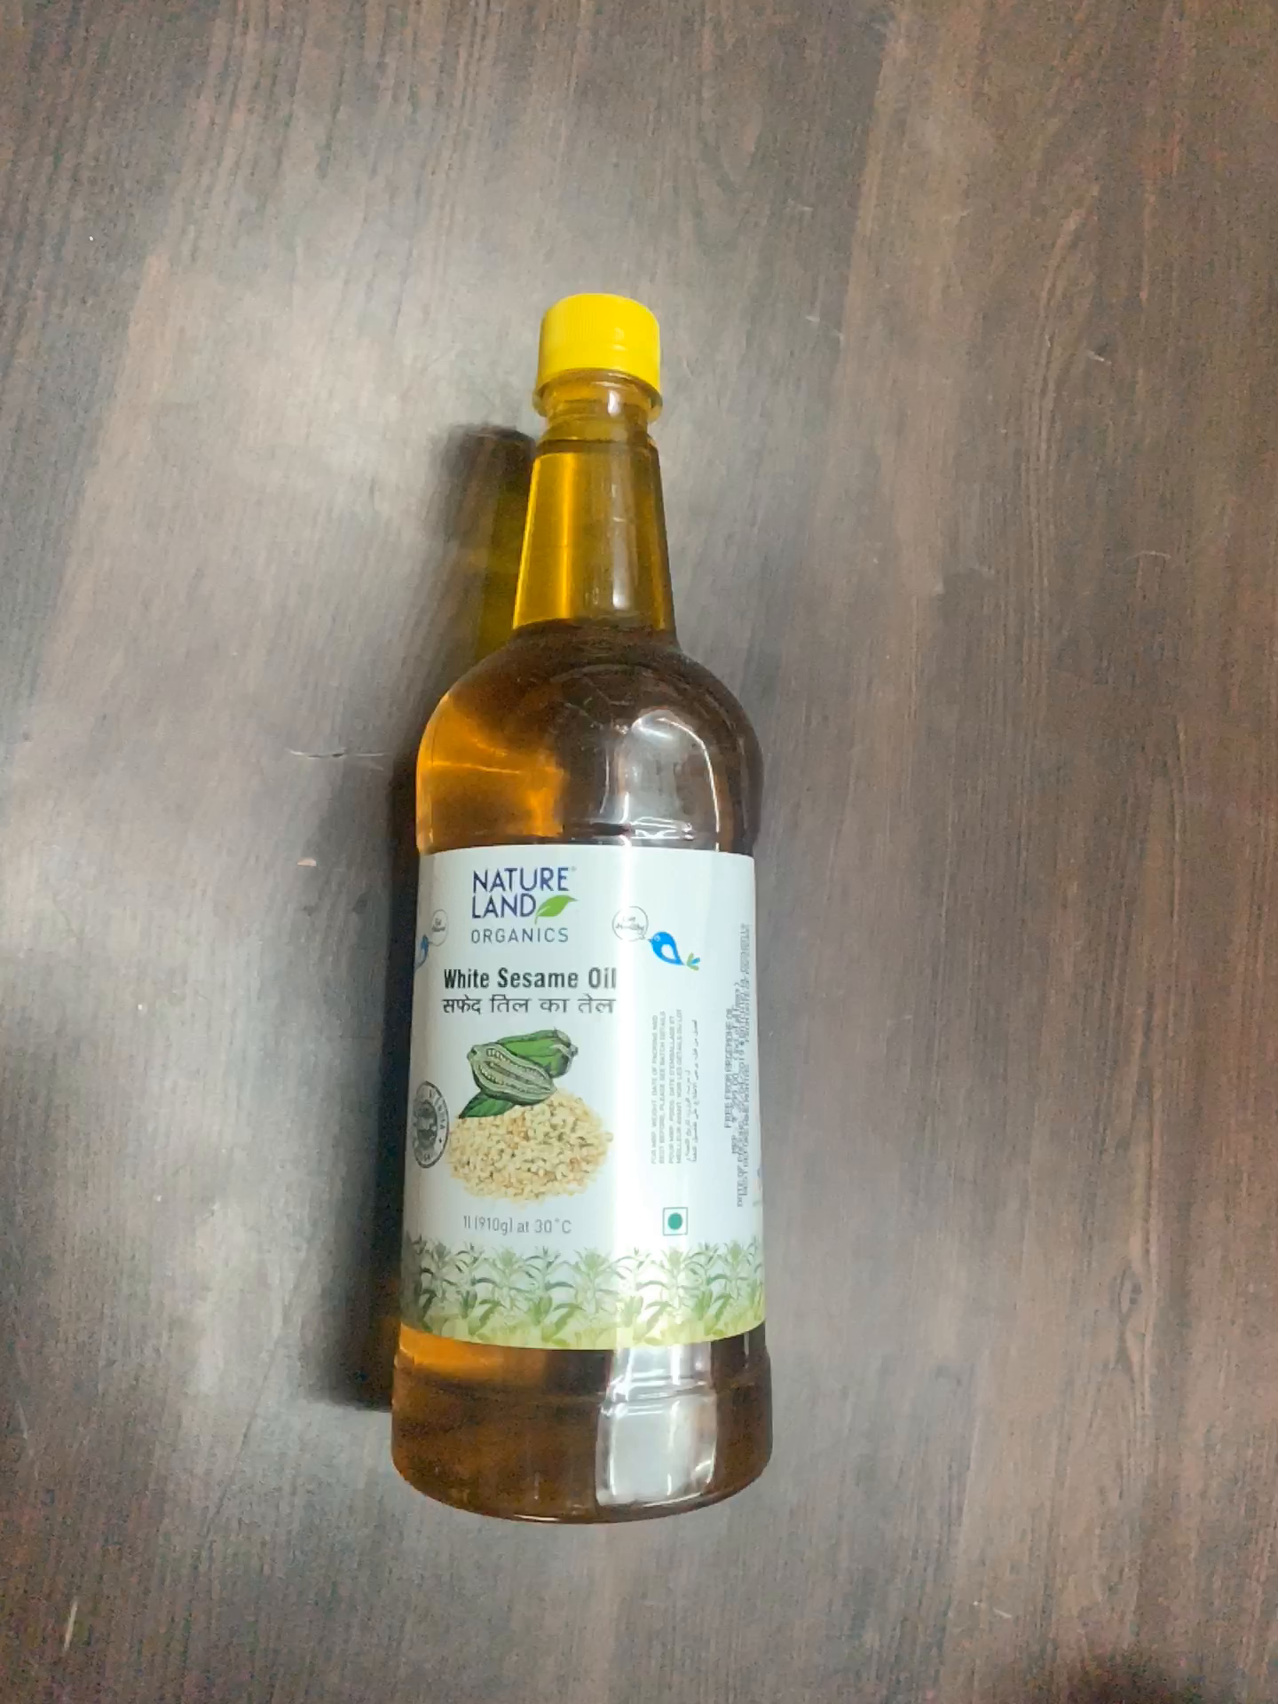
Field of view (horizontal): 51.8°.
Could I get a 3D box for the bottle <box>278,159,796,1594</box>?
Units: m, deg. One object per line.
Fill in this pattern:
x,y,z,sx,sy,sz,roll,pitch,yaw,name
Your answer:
-0.015,0.002,0.300,0.080,0.090,0.270,-3,81,19,bottle
